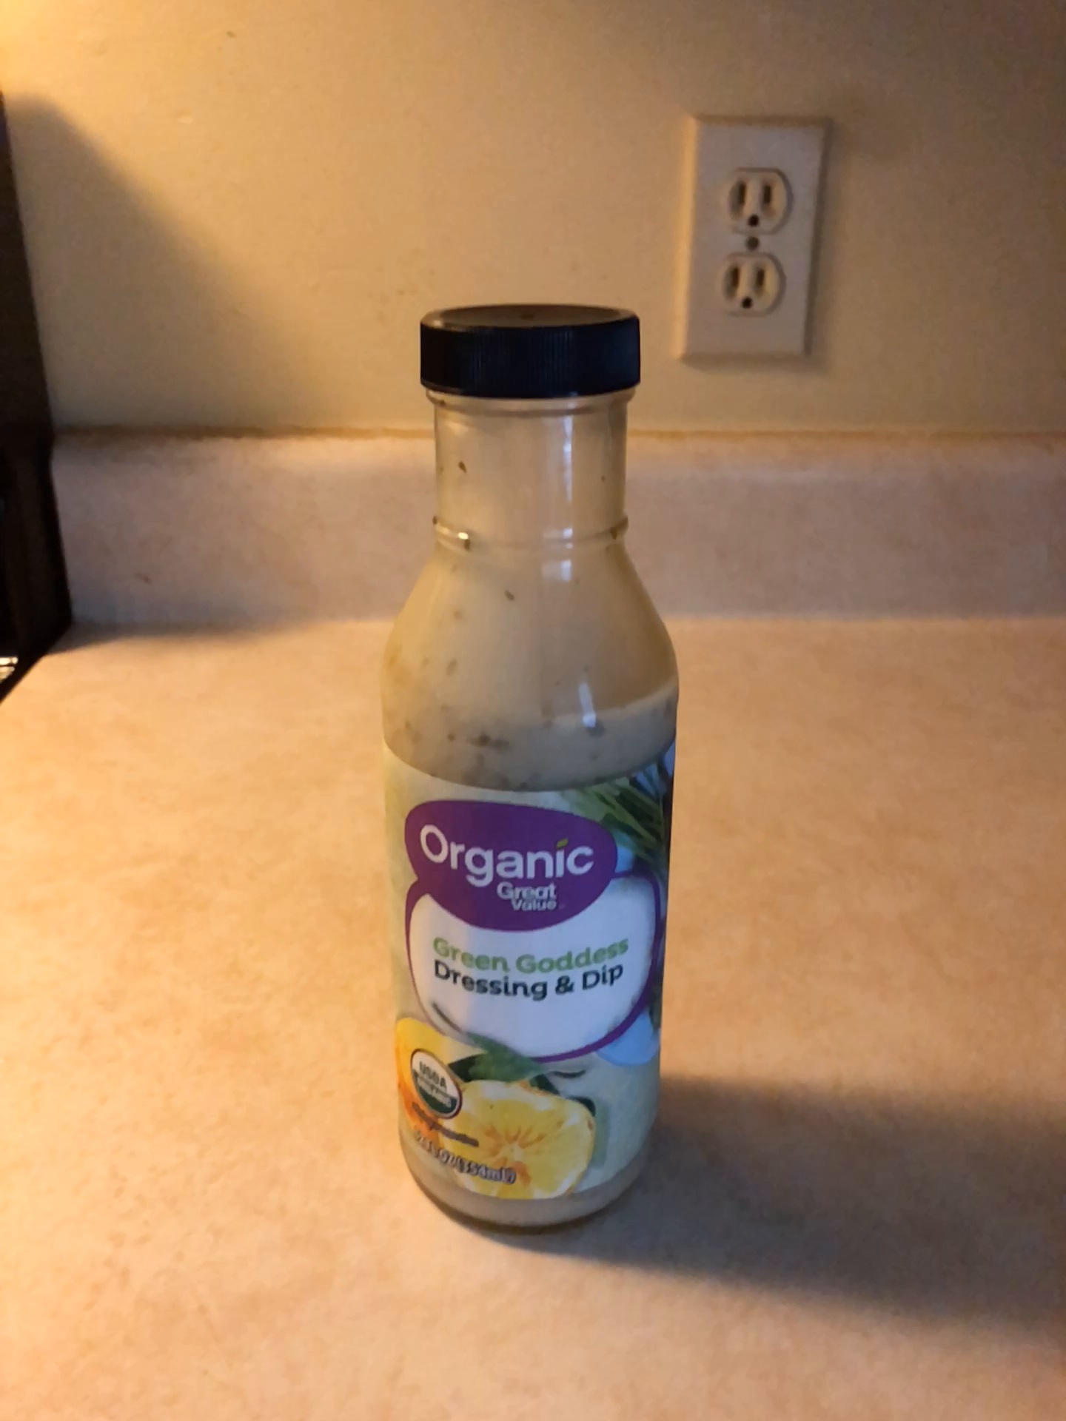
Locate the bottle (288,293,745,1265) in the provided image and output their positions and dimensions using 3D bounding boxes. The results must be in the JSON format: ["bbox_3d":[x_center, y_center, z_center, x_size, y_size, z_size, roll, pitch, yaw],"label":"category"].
[{"bbox_3d":[0.001,0.015,0.254,0.070,0.189,0.070,1,23,0],"label":"bottle"}]
